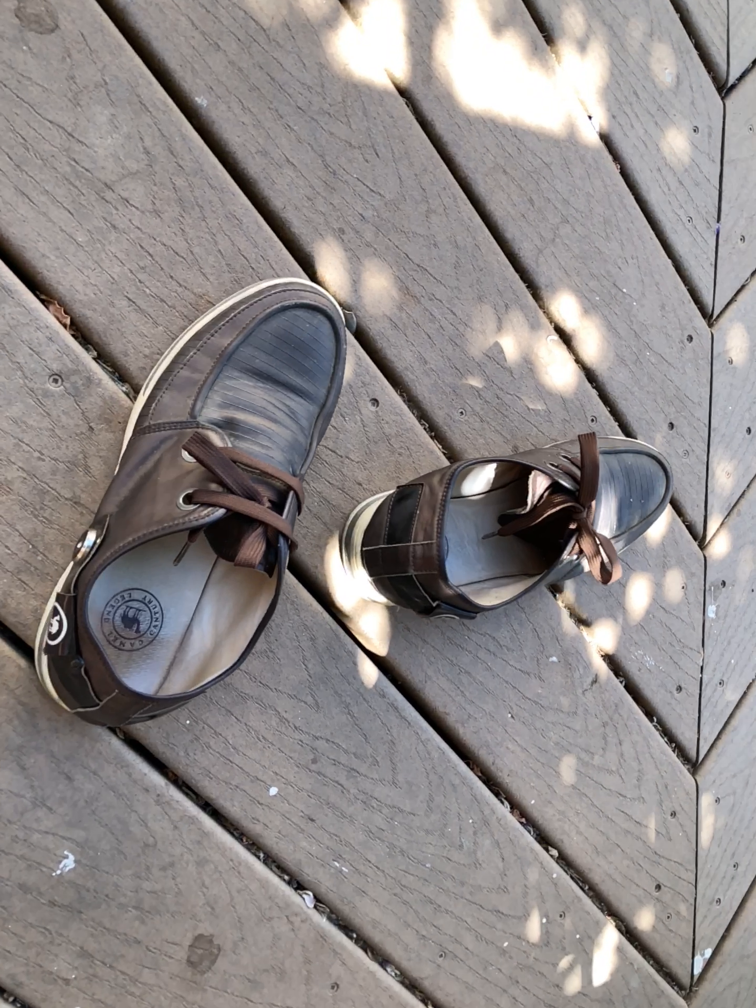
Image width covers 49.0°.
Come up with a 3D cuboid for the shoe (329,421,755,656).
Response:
[{"bbox_3d":[0.131,0.012,0.597,0.304,0.116,0.110,-9,95,-30],"label":"shoe"}]

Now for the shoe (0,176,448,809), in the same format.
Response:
[{"bbox_3d":[-0.090,-0.009,0.468,0.110,0.116,0.302,30,76,-27],"label":"shoe"}]
